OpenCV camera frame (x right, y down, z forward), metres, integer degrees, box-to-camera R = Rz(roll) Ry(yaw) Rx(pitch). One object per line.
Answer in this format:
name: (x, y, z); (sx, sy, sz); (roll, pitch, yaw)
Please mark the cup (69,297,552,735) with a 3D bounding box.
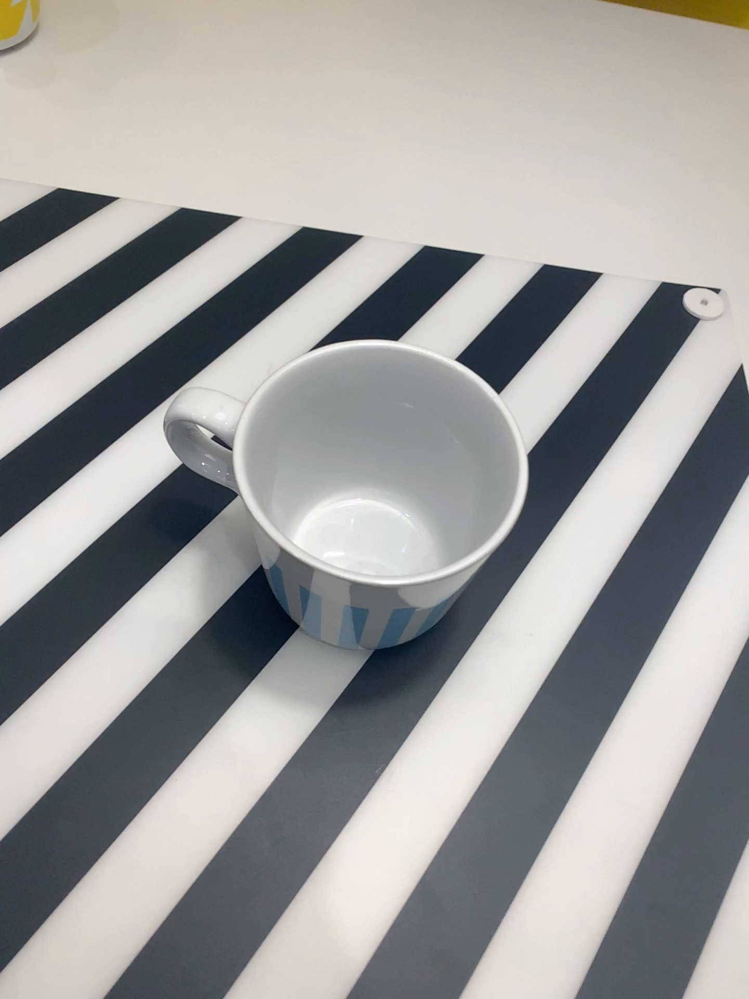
cup: (-0.016, 0.006, 0.242); (0.110, 0.070, 0.080); (20, 58, 6)
